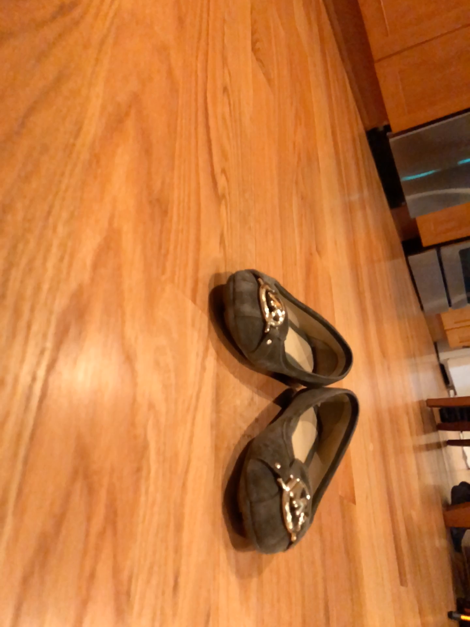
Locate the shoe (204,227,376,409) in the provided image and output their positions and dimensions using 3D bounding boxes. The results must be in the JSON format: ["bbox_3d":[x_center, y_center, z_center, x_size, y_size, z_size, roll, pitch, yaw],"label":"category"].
[{"bbox_3d":[0.065,0.022,0.493,0.240,0.079,0.091,36,45,-58],"label":"shoe"}]

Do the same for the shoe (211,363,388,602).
[{"bbox_3d":[0.074,0.125,0.446,0.243,0.079,0.091,-27,102,-67],"label":"shoe"}]
